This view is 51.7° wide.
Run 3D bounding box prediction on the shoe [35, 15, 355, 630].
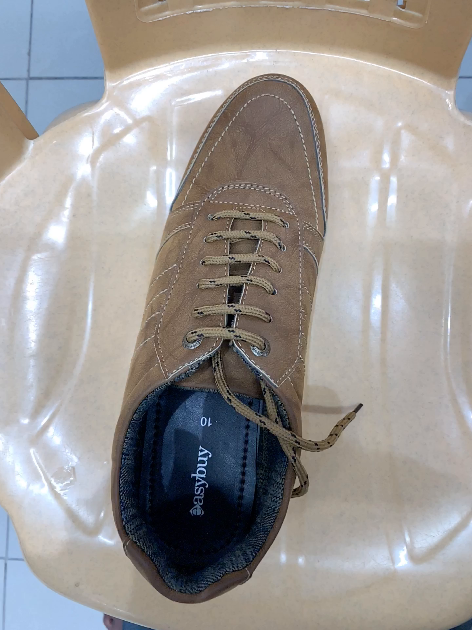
[{"bbox_3d":[-0.007,-0.003,0.285,0.100,0.100,0.310,8,77,6],"label":"shoe"}]
